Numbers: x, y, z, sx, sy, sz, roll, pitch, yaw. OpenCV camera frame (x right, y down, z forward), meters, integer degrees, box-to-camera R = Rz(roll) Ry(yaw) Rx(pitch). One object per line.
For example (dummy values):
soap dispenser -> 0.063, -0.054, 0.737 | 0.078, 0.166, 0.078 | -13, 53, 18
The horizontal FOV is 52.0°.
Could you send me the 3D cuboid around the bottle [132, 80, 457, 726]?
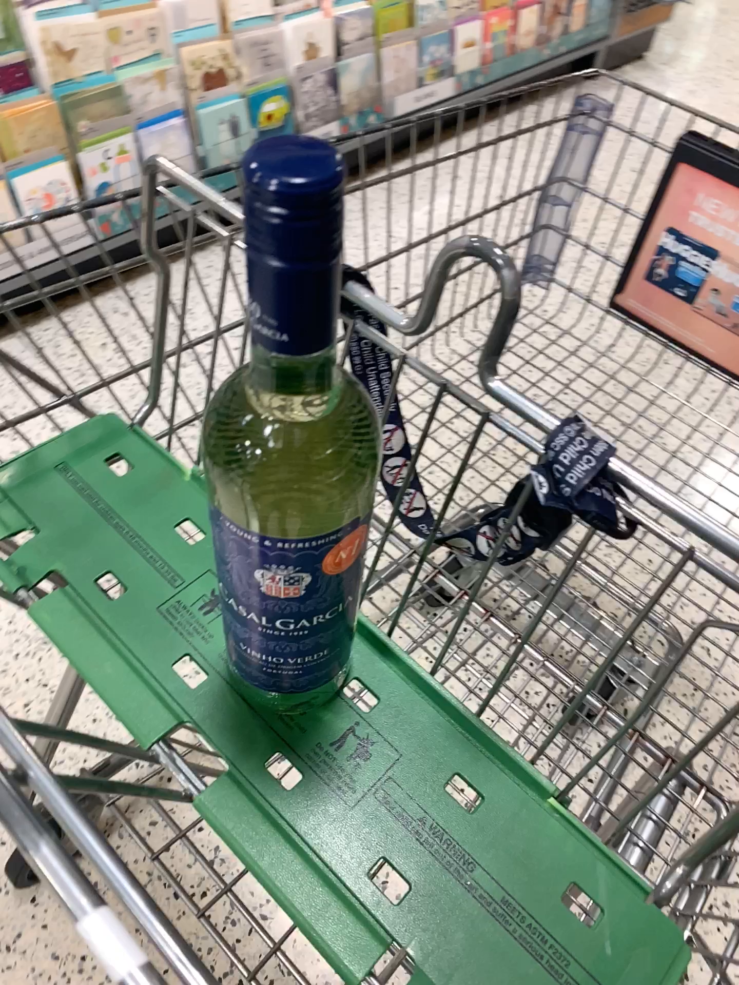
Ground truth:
bottle -> -0.031, 0.000, 0.326 | 0.080, 0.297, 0.081 | 3, 50, -4
